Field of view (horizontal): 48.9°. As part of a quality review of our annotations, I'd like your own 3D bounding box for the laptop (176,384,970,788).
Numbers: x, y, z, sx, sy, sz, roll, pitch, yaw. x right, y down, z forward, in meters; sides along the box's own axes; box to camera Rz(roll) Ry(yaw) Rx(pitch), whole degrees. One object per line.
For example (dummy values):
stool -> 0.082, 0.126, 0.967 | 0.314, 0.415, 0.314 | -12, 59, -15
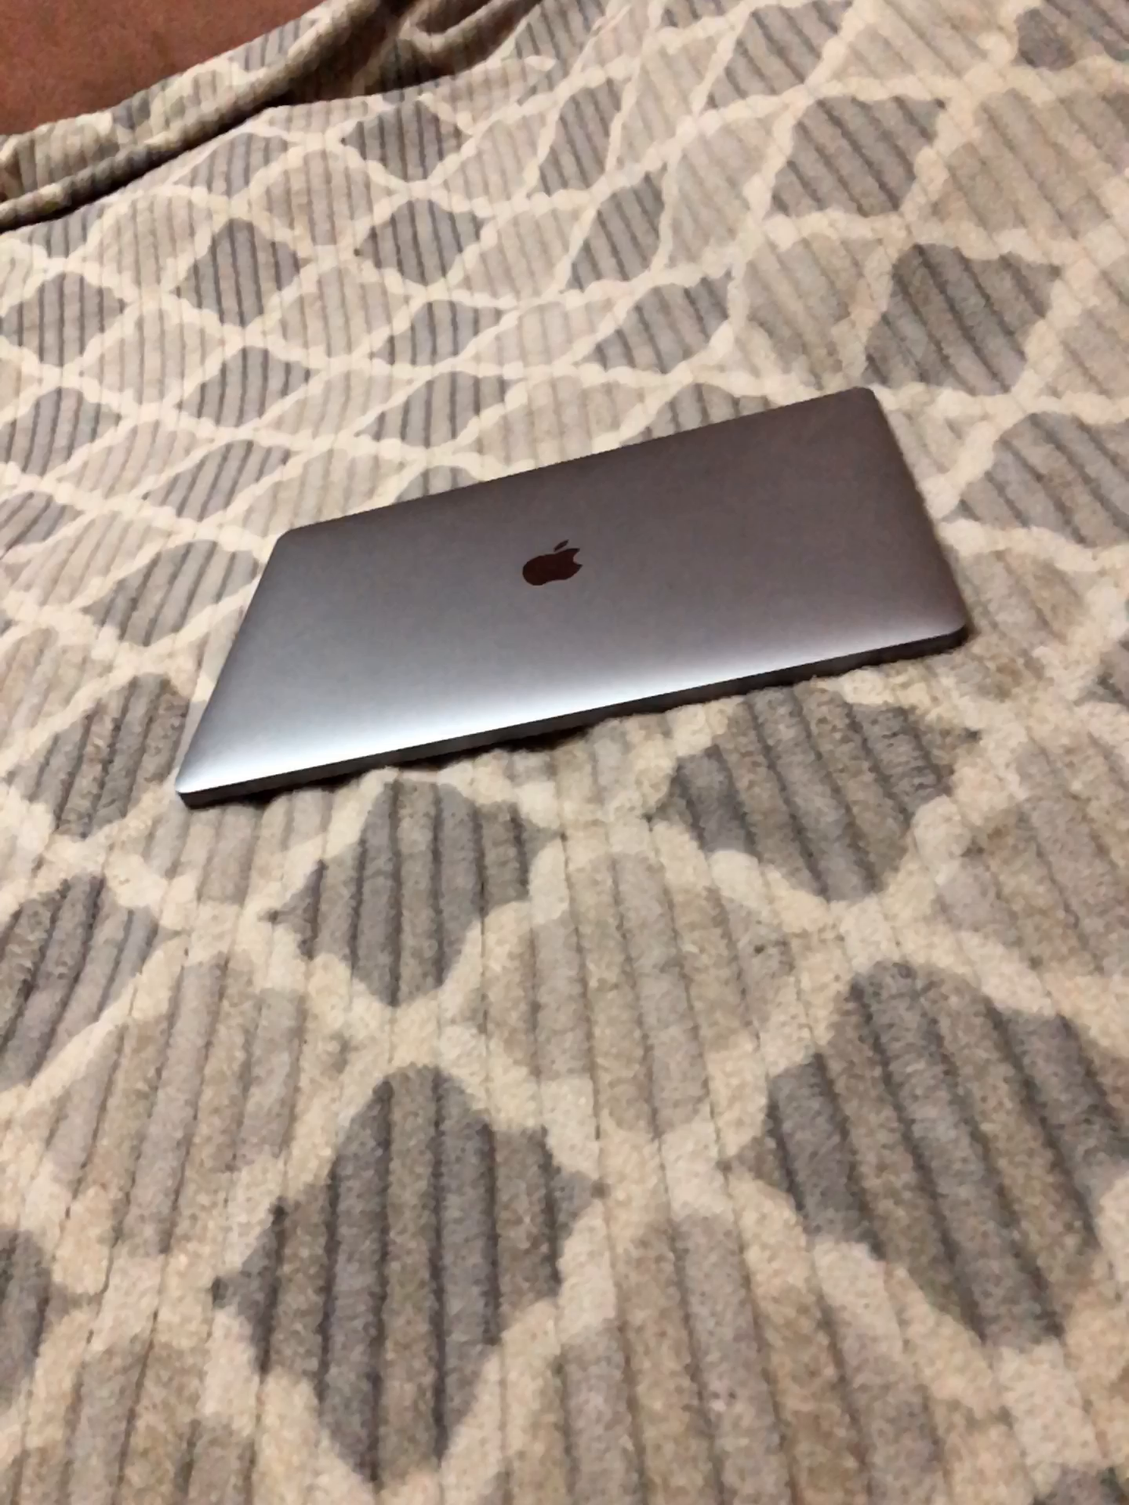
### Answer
laptop -> -0.005, -0.095, 0.638 | 0.358, 0.007, 0.247 | -11, 37, 11
